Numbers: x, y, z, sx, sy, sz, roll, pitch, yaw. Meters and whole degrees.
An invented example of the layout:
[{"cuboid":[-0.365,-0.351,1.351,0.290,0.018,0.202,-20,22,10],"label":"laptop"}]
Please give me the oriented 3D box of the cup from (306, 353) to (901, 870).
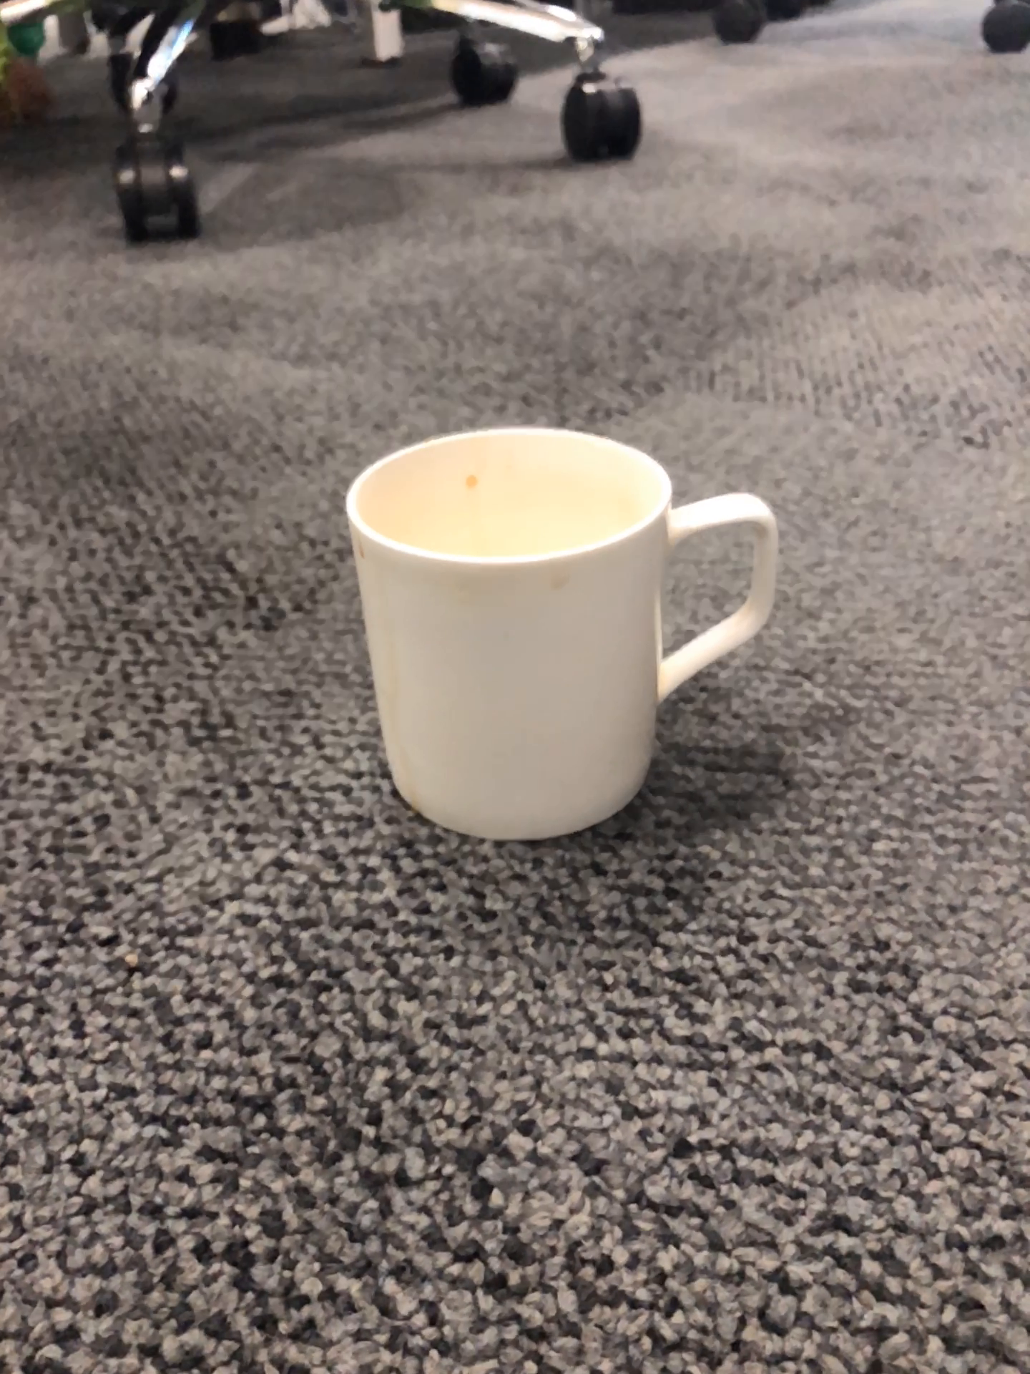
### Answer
[{"cuboid":[0.015,-0.021,0.250,0.100,0.070,0.070,-12,34,-12],"label":"cup"}]
